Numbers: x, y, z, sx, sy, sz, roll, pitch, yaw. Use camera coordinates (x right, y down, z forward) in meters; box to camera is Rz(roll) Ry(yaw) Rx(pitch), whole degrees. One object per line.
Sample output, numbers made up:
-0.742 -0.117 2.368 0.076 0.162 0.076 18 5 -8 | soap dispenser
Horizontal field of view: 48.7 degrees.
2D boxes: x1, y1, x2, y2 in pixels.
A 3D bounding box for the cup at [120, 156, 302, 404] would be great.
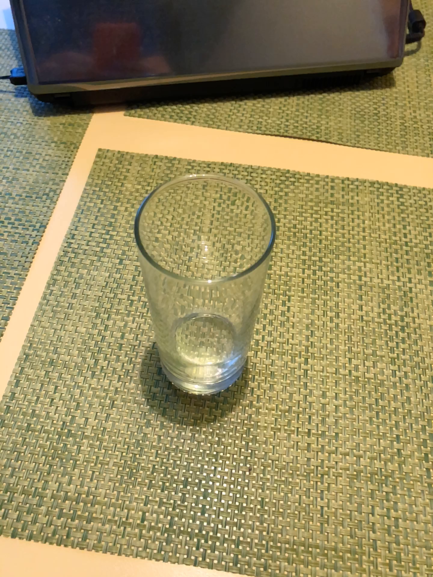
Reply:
-0.005 0.006 0.262 0.070 0.139 0.070 1 58 -1 | cup
